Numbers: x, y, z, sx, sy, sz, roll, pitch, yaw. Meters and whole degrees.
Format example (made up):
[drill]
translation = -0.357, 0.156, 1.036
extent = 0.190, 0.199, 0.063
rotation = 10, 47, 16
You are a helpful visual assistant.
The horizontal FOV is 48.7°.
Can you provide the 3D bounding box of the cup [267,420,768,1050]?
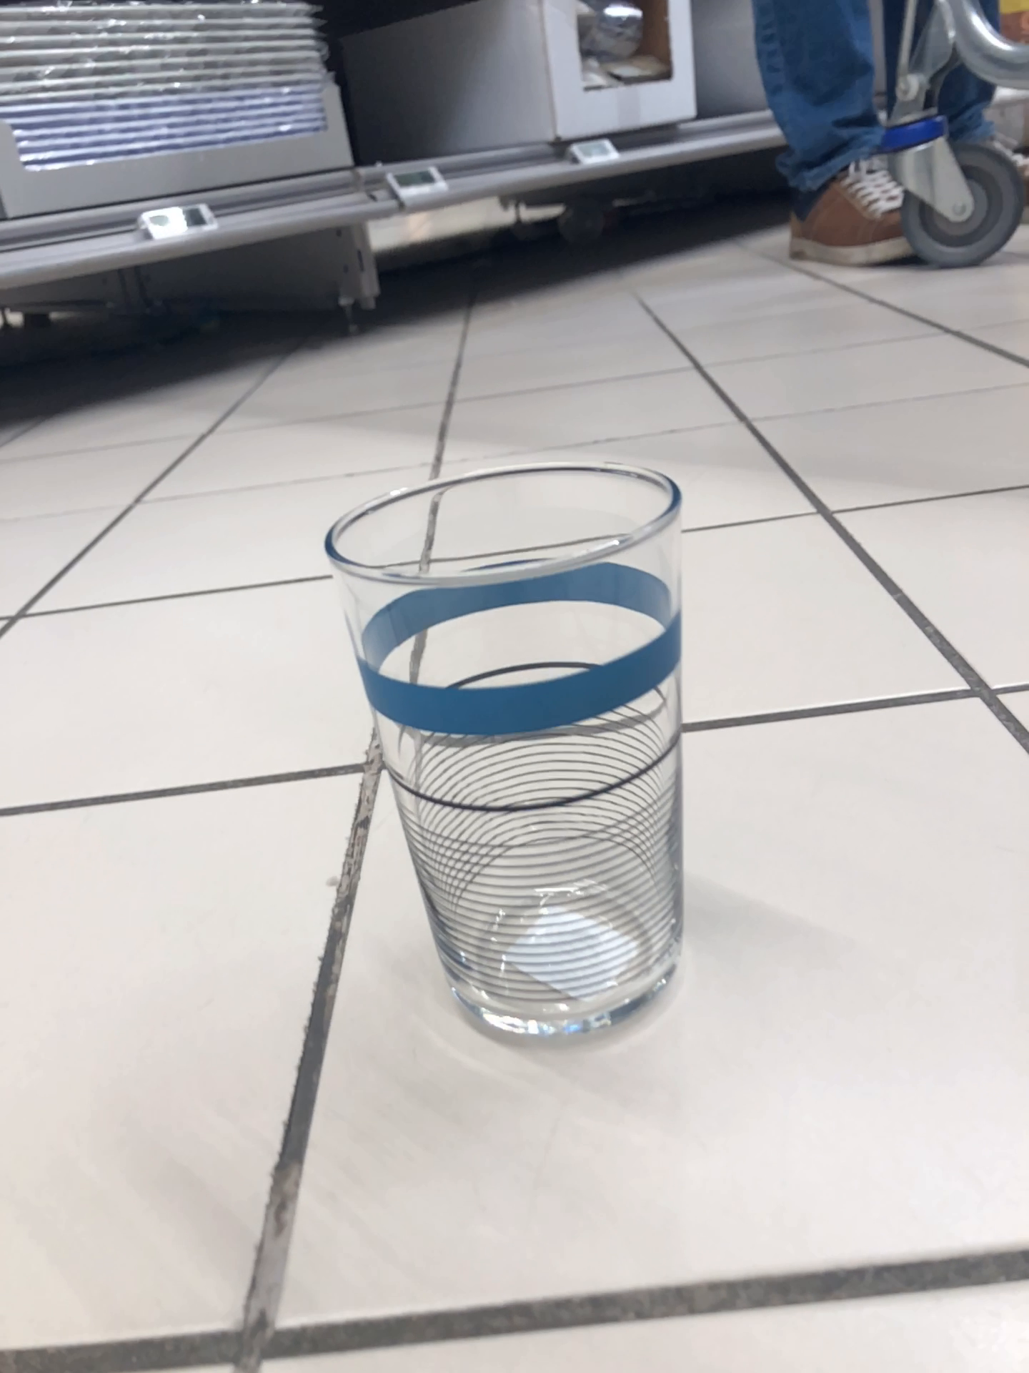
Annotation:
[cup]
translation = 0.005, 0.007, 0.246
extent = 0.079, 0.102, 0.080
rotation = -7, 25, 3
